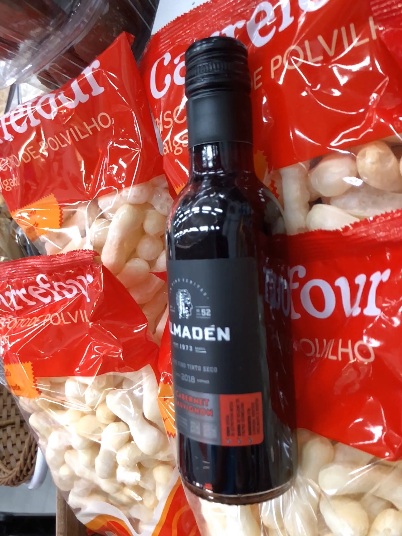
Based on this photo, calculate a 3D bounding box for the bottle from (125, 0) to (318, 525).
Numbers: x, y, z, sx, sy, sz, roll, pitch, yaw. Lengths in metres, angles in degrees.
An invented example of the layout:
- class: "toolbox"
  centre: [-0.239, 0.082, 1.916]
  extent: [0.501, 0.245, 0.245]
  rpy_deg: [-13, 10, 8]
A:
- class: "bottle"
  centre: [0.009, -0.022, 0.215]
  extent: [0.060, 0.060, 0.240]
  rpy_deg: [-5, 86, 42]
